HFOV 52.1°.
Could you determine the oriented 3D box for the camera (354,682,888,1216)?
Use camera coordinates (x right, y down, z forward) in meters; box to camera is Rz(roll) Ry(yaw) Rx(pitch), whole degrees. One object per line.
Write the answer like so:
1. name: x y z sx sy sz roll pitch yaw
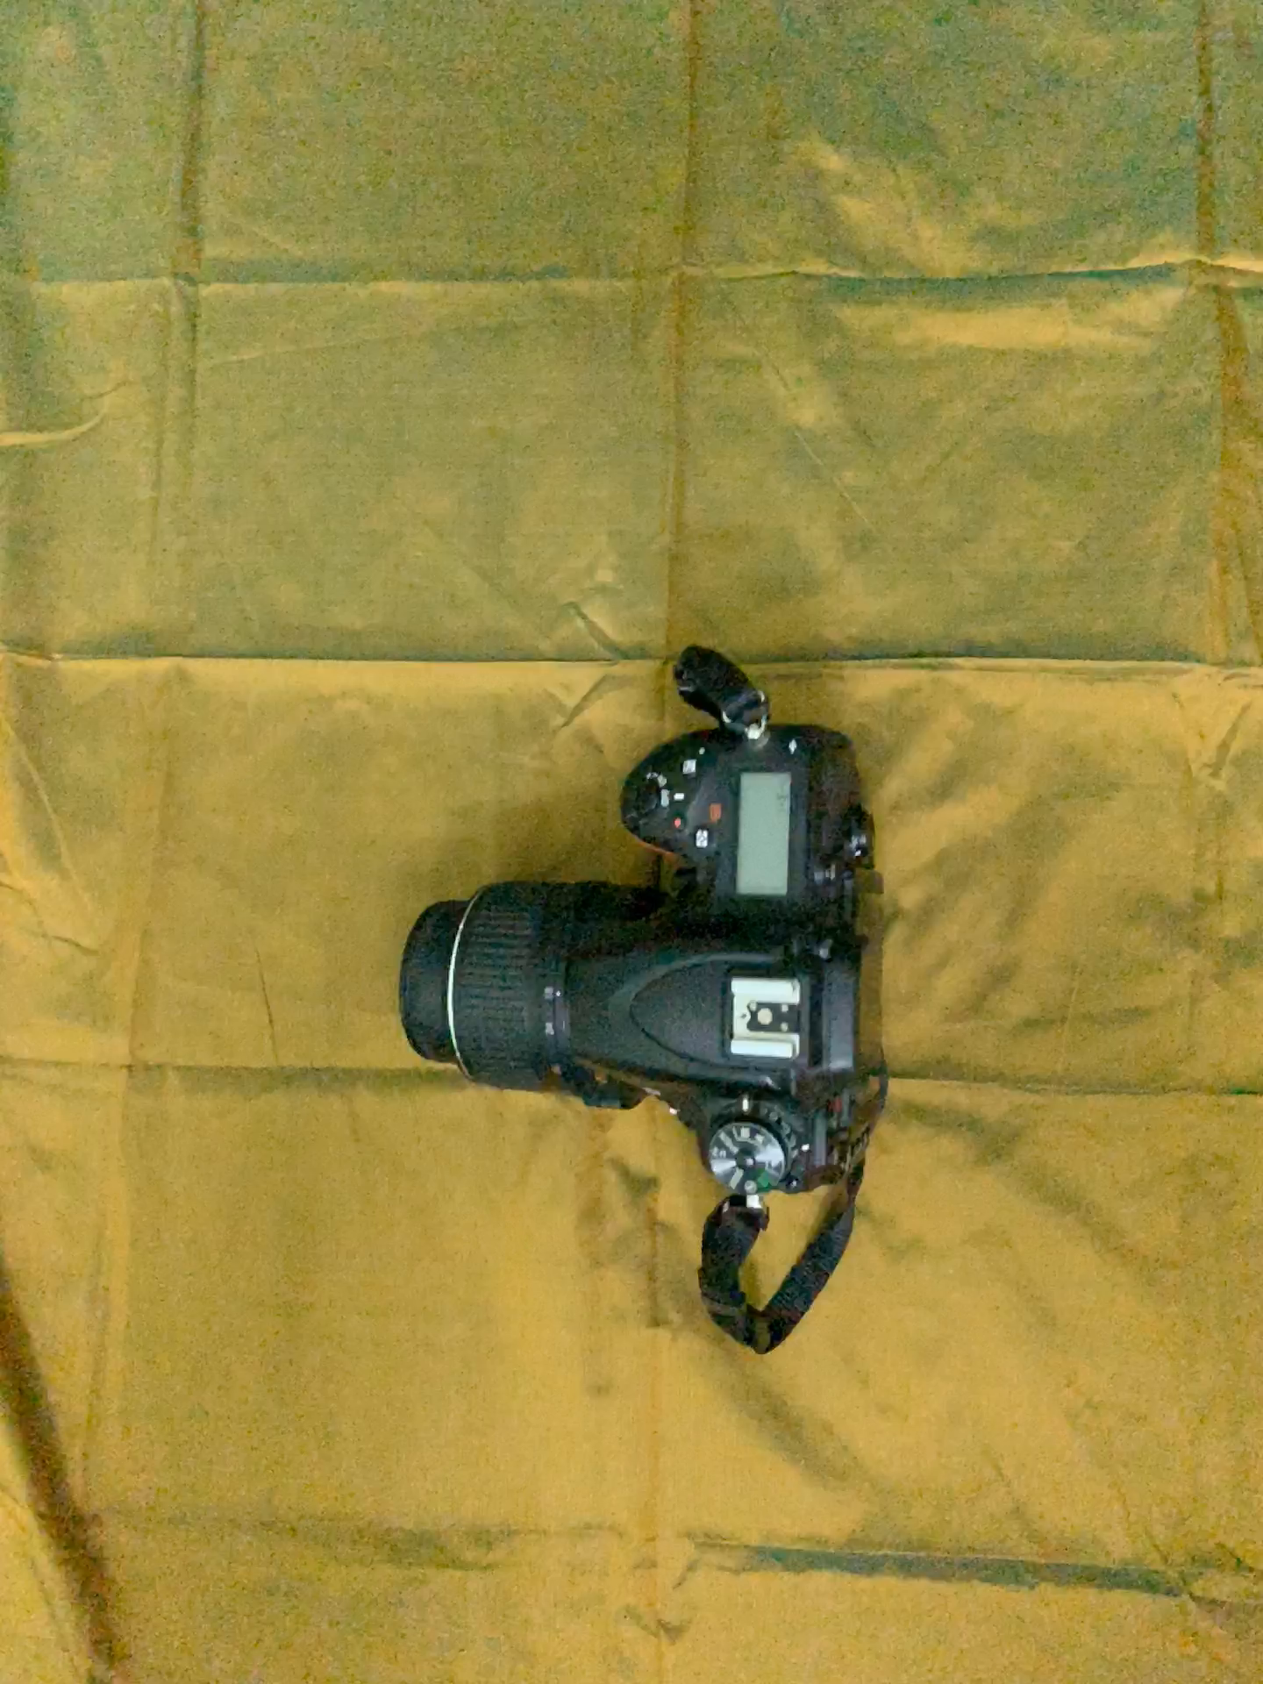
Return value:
1. camera: 0.005 0.033 0.405 0.132 0.120 0.135 -1 84 20
